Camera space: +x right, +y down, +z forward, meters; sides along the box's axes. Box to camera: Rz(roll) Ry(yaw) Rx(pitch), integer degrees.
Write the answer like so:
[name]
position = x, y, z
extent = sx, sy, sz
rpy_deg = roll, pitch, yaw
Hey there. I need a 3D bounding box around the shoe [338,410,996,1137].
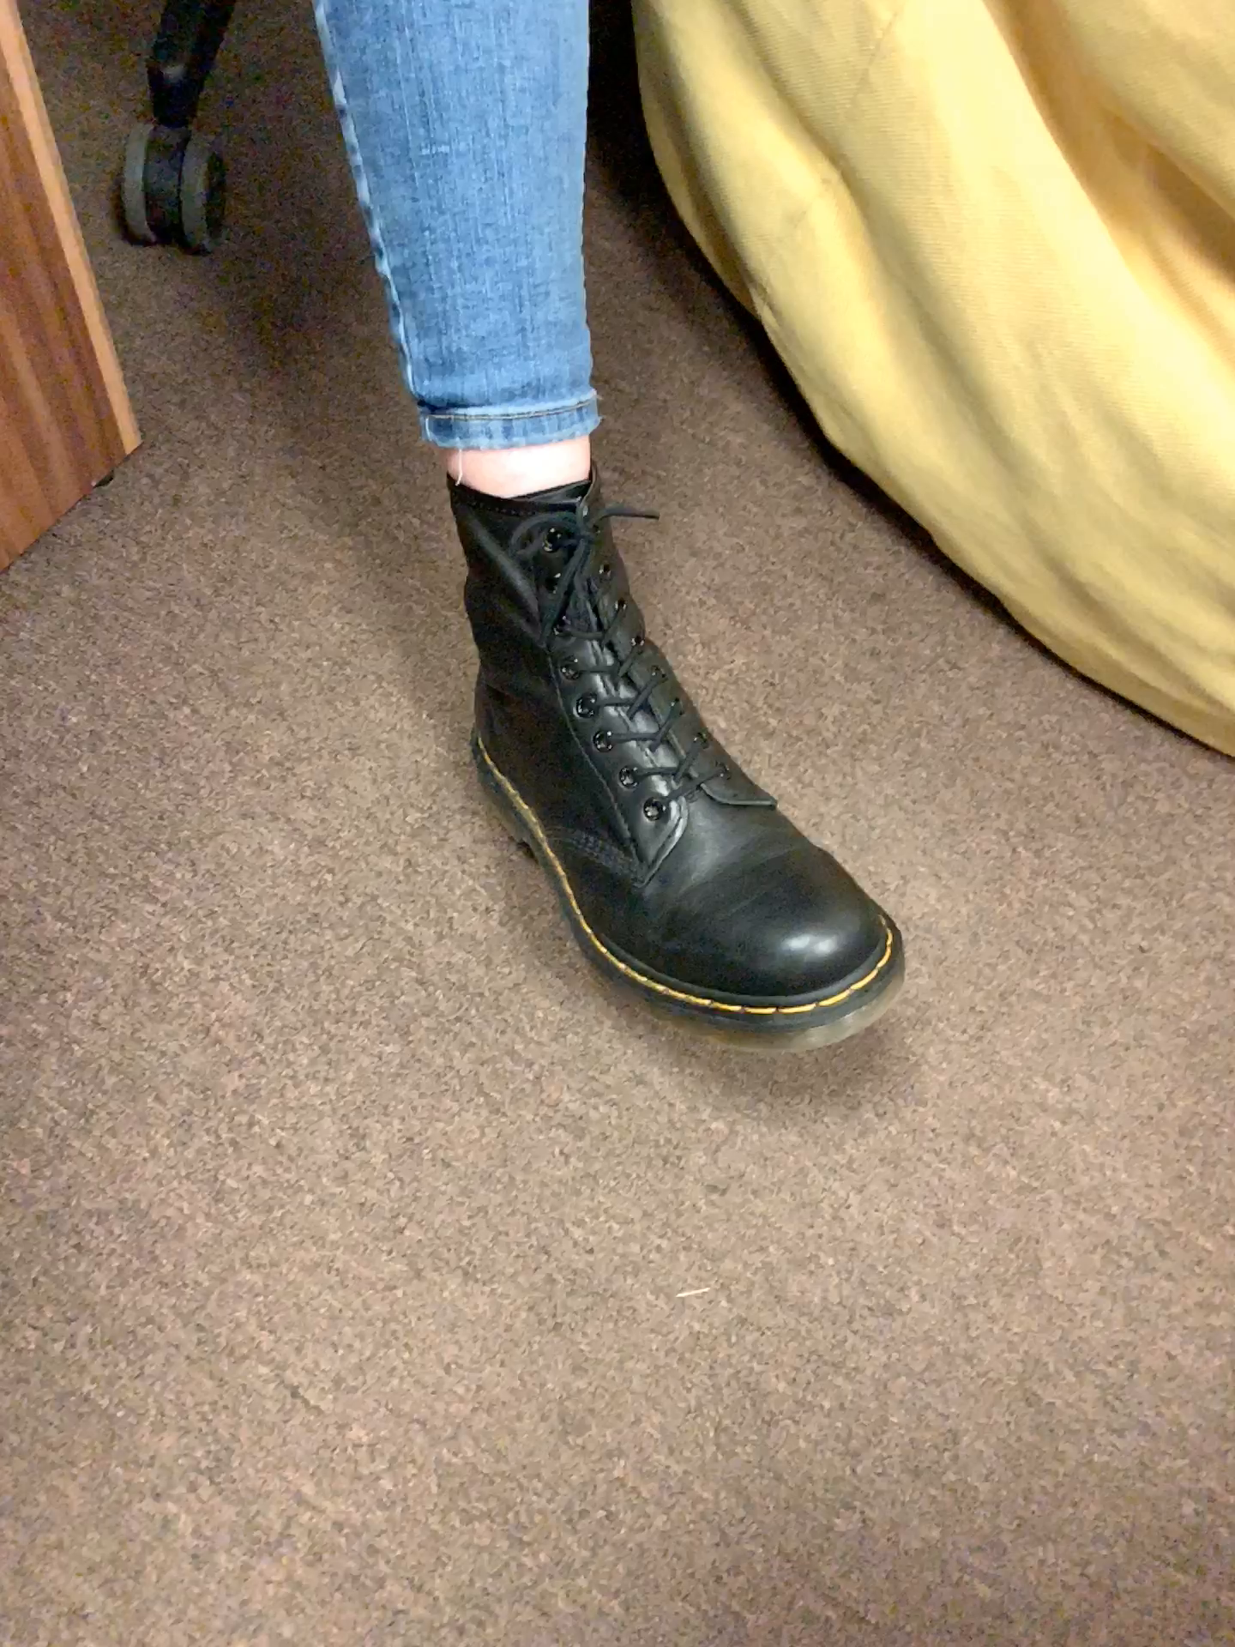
[shoe]
position = 0.005, -0.042, 0.534
extent = 0.120, 0.150, 0.290
rpy_deg = -24, 44, -19
